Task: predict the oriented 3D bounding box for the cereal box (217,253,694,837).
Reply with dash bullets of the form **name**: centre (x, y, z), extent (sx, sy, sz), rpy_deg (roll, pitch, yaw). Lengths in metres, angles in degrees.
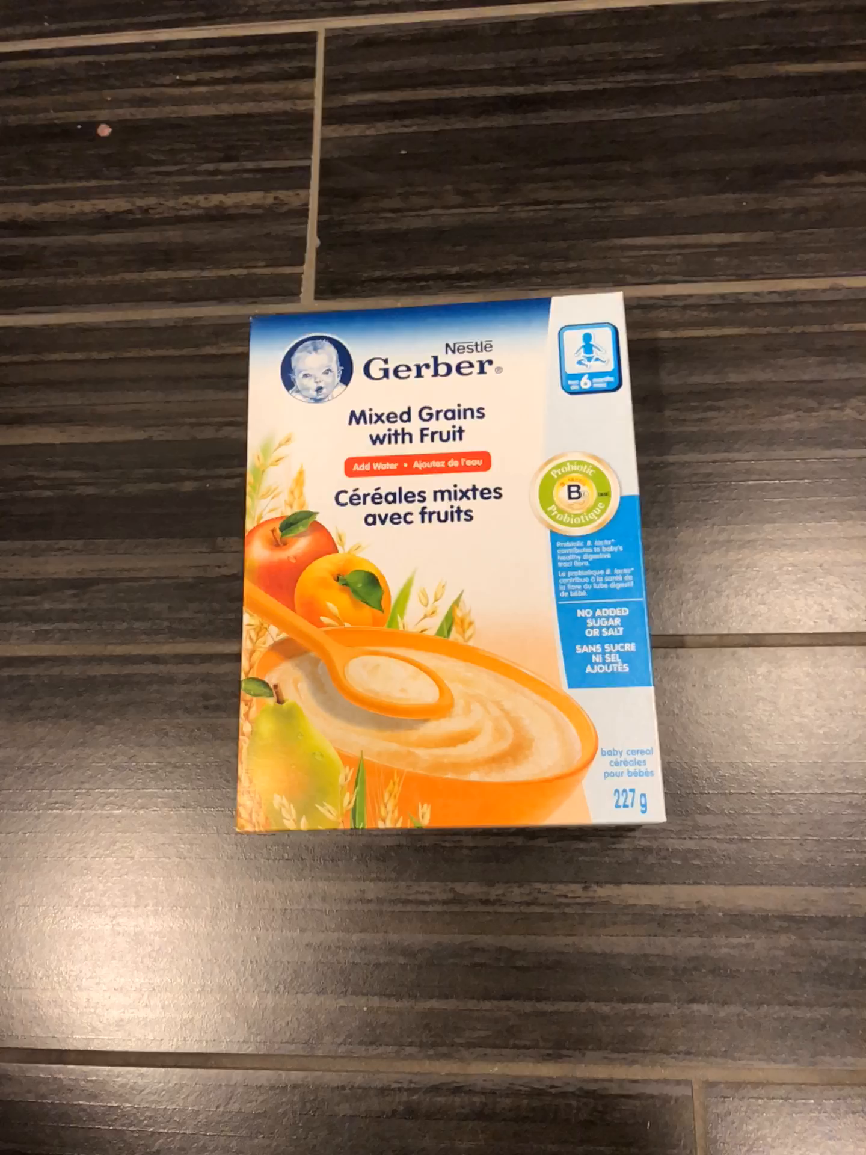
- **cereal box**: centre (0.006, -0.011, 0.351), extent (0.150, 0.050, 0.200), rpy_deg (-2, 76, 5)
